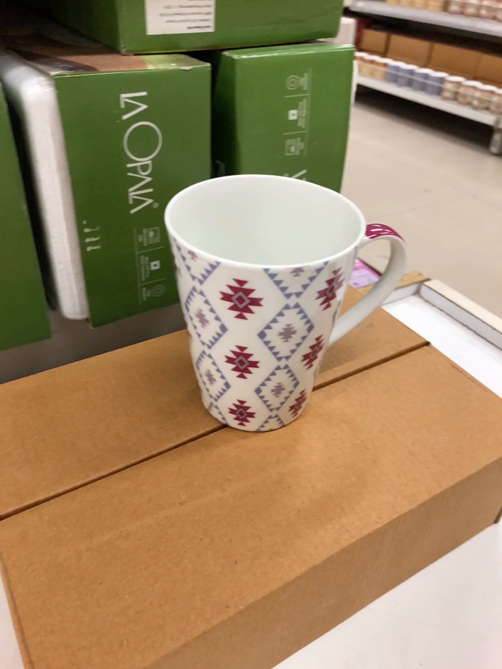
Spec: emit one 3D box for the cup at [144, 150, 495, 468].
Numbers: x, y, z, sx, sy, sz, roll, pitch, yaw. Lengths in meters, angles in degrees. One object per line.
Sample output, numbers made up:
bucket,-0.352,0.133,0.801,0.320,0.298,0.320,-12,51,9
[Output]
cup,0.023,-0.018,0.258,0.120,0.099,0.080,-12,38,-19
